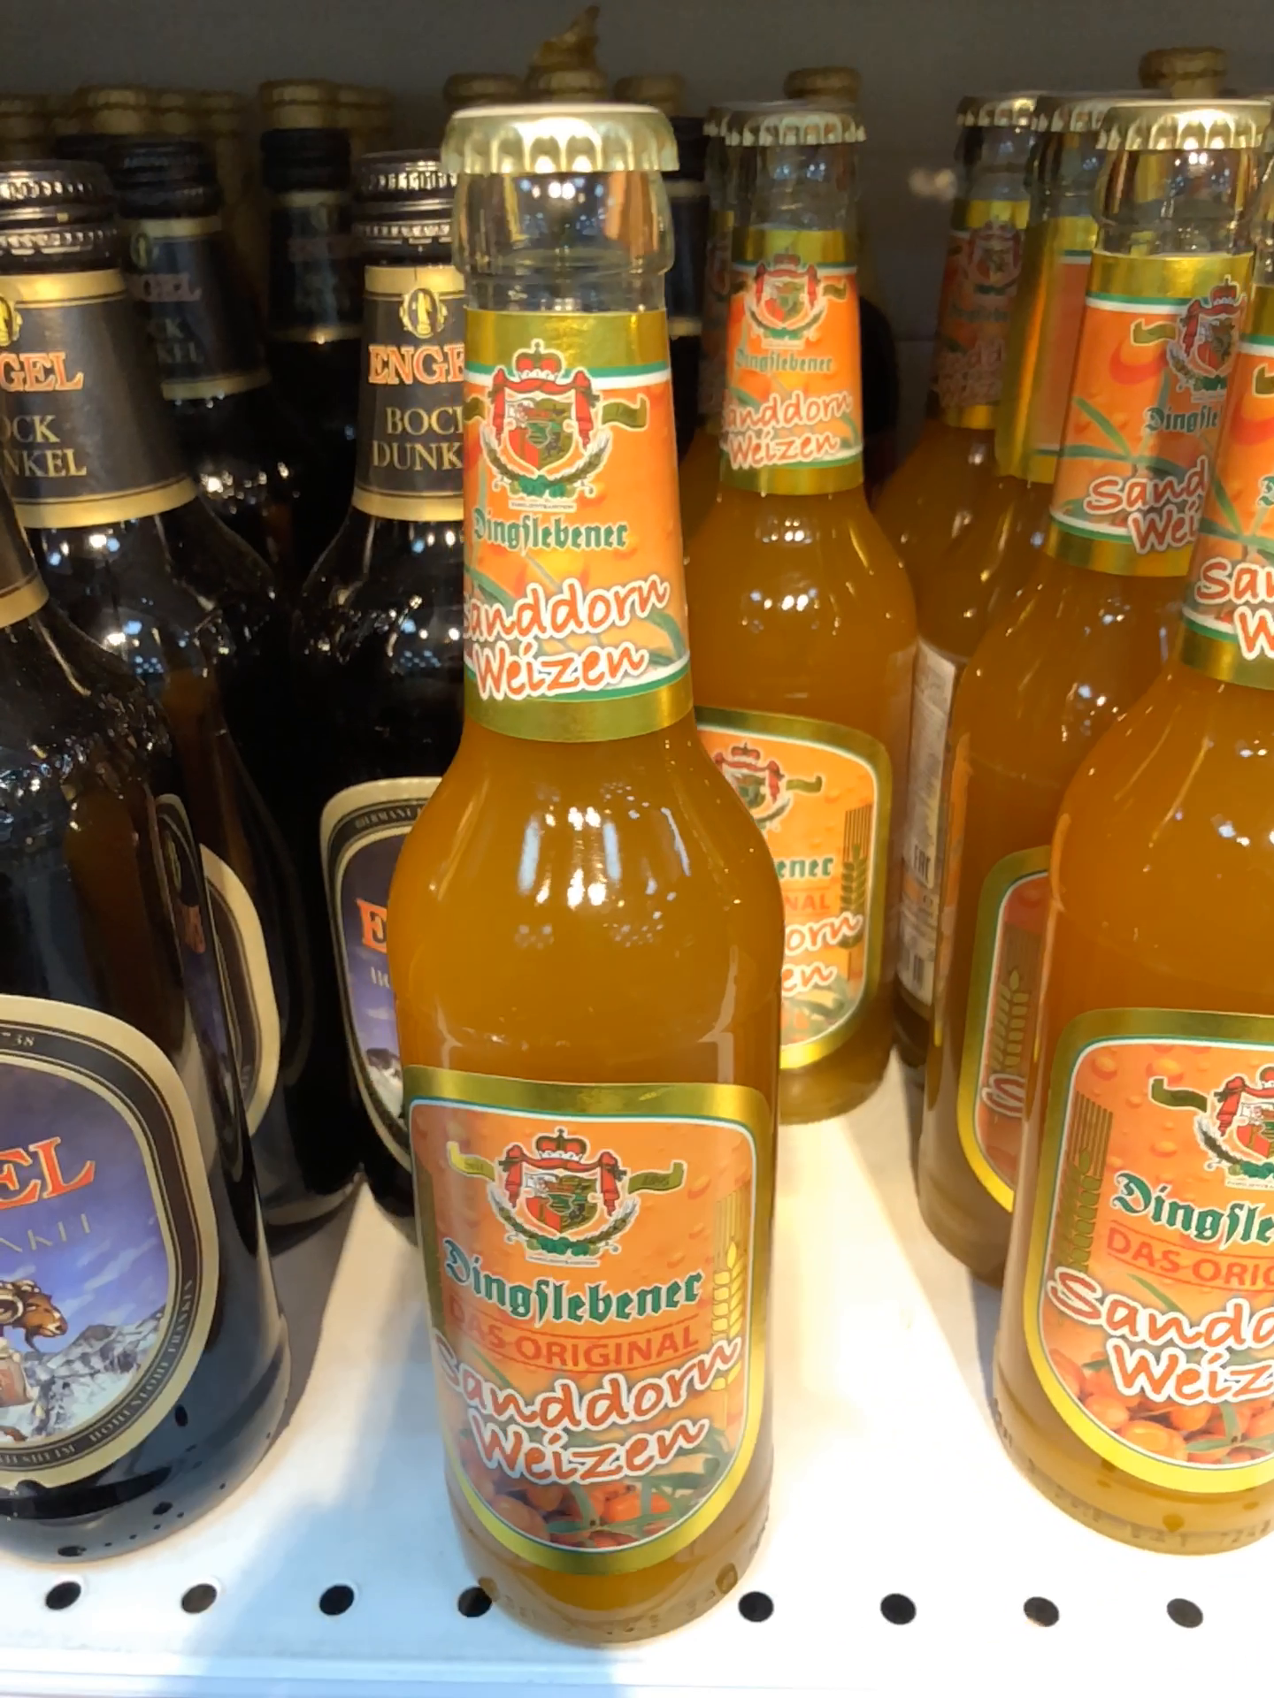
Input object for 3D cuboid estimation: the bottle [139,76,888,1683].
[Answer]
[{"bbox_3d":[-0.006,0.017,0.207,0.070,0.225,0.060,2,27,7],"label":"bottle"}]
